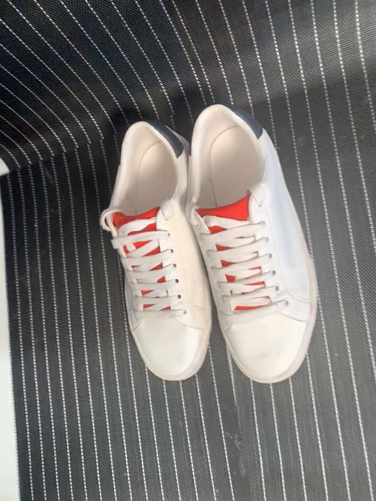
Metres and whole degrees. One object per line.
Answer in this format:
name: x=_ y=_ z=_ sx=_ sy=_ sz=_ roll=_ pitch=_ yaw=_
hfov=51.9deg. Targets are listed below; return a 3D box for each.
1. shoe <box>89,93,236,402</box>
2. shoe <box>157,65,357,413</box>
shoe: x=-0.028 y=0.001 z=0.419 sx=0.120 sy=0.090 sz=0.290 roll=-6 pitch=81 yaw=20
shoe: x=0.064 y=-0.009 z=0.382 sx=0.120 sy=0.090 sz=0.290 roll=-13 pitch=78 yaw=18
